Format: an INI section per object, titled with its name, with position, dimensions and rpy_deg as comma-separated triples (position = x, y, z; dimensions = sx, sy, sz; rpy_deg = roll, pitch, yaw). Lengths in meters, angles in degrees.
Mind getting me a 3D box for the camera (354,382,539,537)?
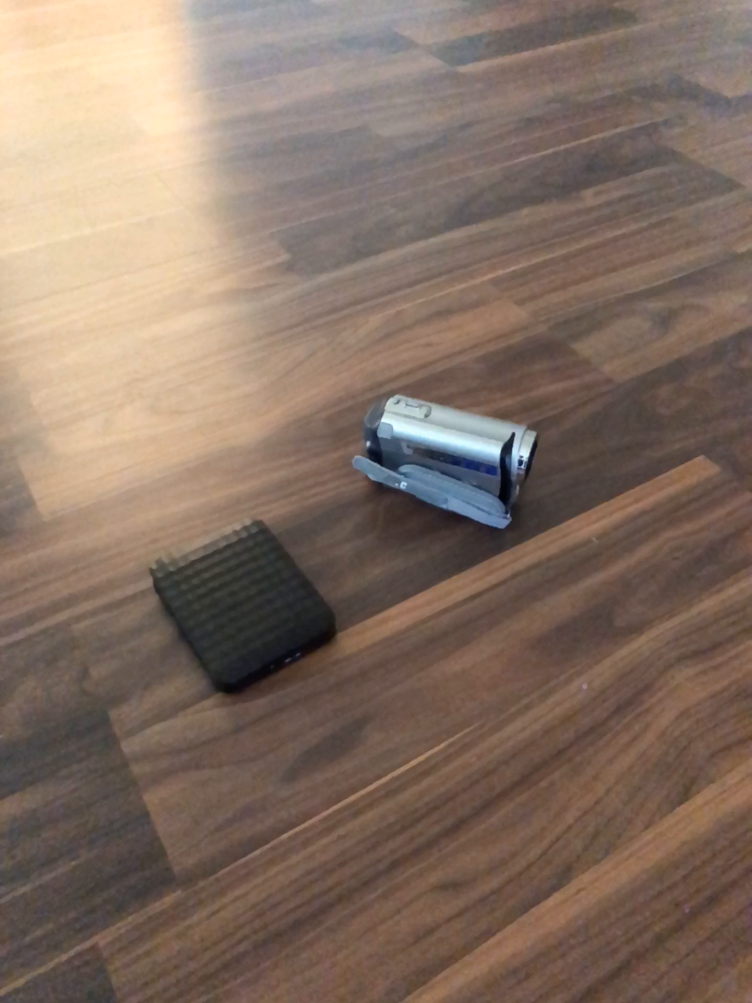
[camera]
position = 0.047, -0.030, 0.582
dimensions = 0.115, 0.065, 0.048
rpy_deg = 17, 48, 16
